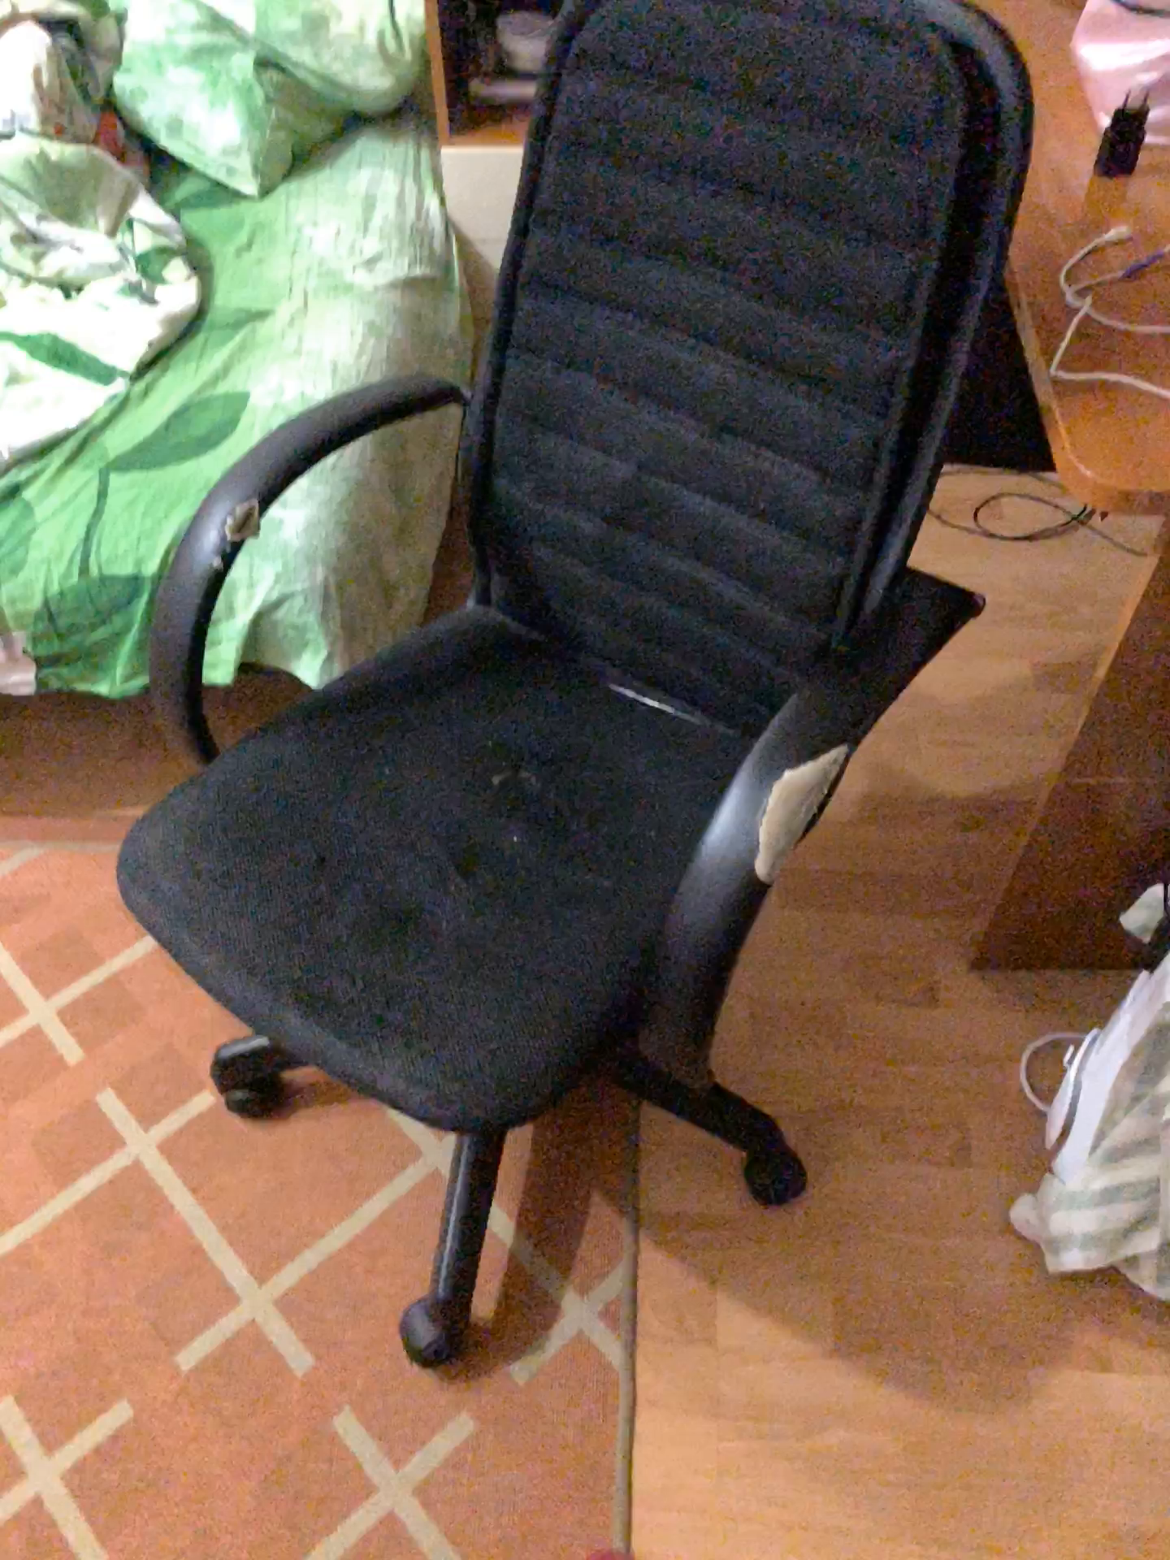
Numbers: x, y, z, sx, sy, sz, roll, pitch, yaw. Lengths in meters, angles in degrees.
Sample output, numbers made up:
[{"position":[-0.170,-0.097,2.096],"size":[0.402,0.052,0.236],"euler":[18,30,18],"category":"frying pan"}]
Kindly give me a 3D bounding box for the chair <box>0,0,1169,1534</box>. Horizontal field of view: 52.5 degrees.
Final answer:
[{"position":[-0.055,-0.011,1.001],"size":[0.672,0.992,0.724],"euler":[28,56,21],"category":"chair"}]
